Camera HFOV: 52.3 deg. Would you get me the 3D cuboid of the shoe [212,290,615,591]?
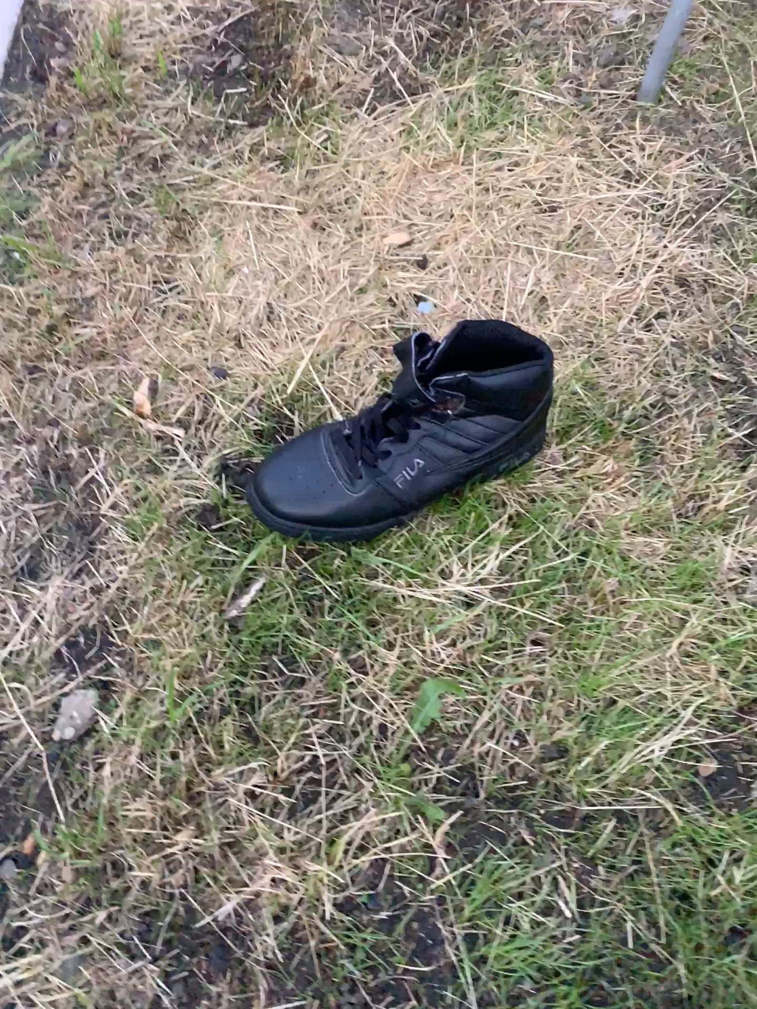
[{"bbox_3d":[0.025,-0.049,0.612,0.270,0.119,0.110,-21,68,-11],"label":"shoe"}]
